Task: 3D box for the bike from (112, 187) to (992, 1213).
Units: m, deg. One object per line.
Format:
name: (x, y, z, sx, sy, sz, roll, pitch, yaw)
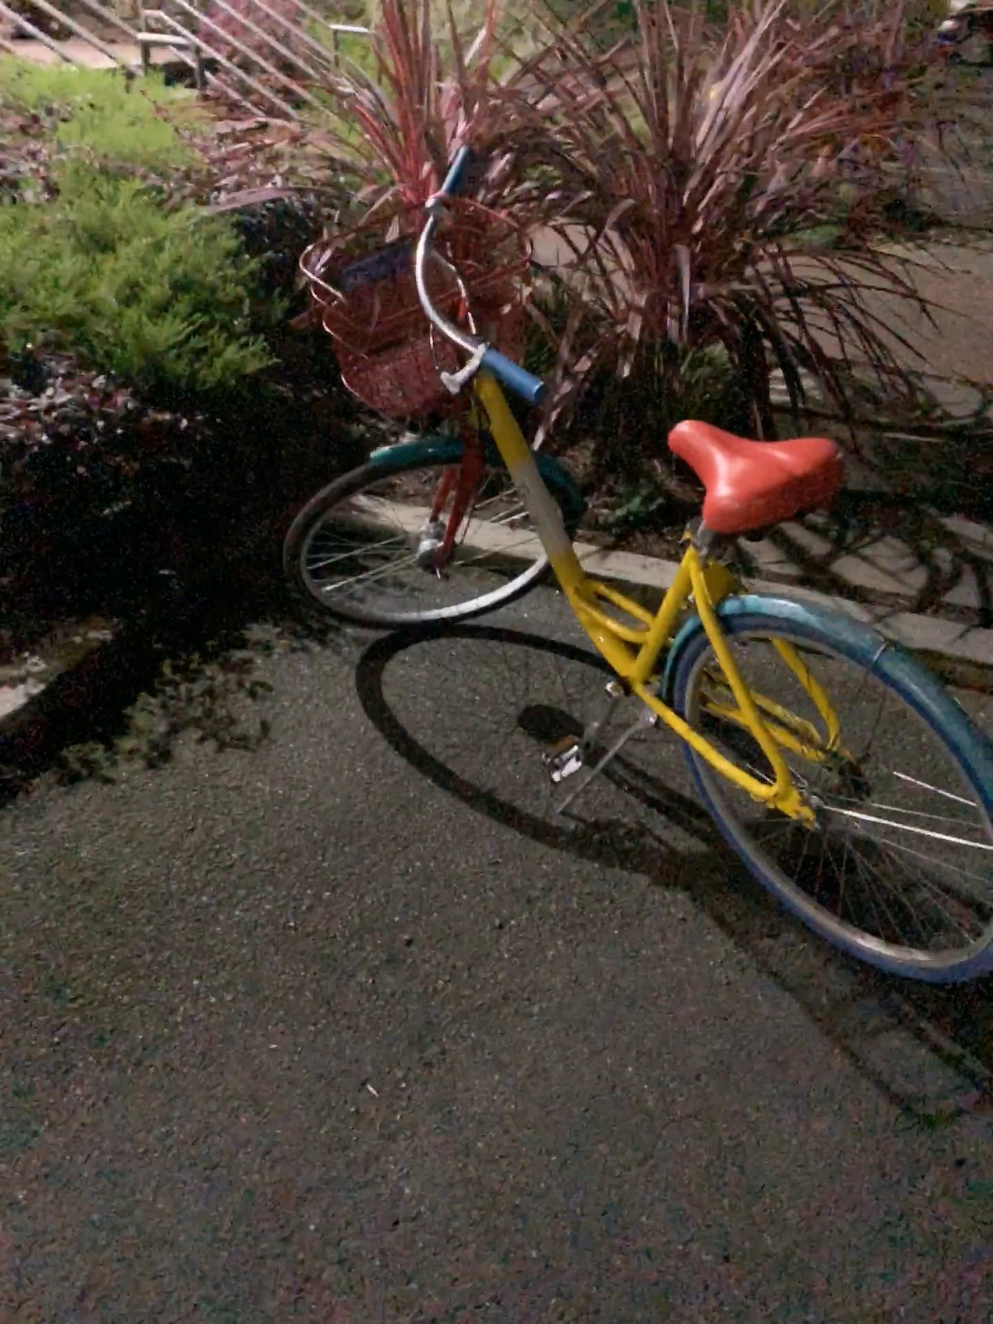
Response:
bike: (0.123, -0.114, 1.712, 1.588, 1.085, 0.601, 27, 41, 35)
